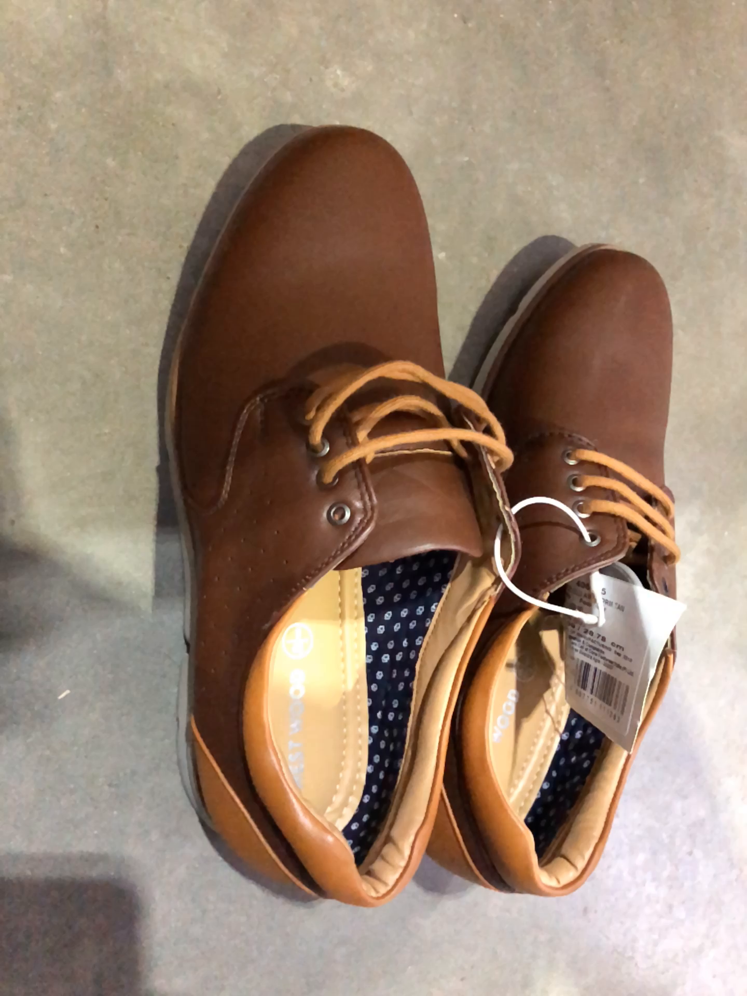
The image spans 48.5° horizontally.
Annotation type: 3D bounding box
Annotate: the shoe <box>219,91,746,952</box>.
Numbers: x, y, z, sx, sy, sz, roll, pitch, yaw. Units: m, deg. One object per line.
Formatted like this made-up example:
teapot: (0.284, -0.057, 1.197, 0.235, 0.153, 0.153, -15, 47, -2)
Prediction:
shoe: (0.060, 0.007, 0.378, 0.120, 0.130, 0.310, 26, 77, -24)

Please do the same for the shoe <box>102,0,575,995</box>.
shoe: (-0.018, 0.003, 0.296, 0.110, 0.120, 0.280, 6, 85, -27)
